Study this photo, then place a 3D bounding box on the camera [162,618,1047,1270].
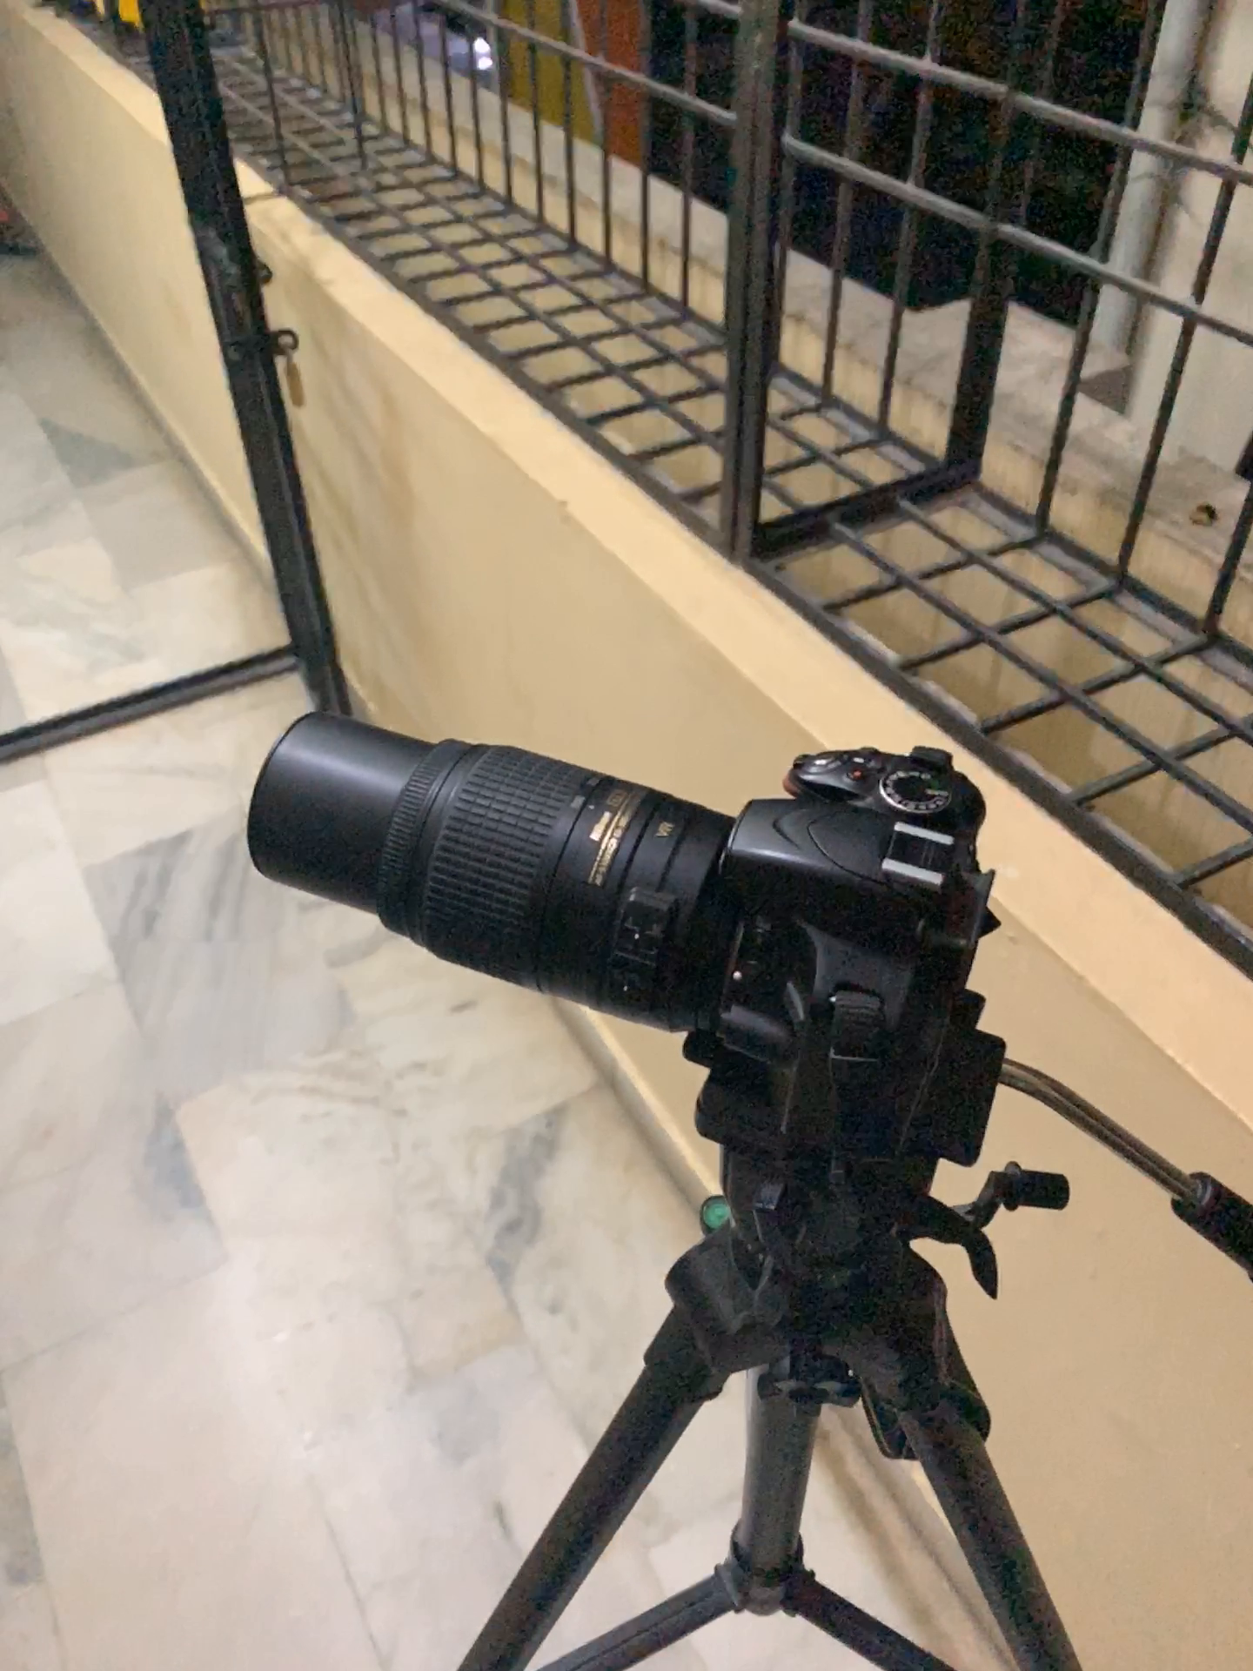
[{"bbox_3d":[-0.003,0.023,0.407,0.230,0.090,0.120,15,45,17],"label":"camera"}]
